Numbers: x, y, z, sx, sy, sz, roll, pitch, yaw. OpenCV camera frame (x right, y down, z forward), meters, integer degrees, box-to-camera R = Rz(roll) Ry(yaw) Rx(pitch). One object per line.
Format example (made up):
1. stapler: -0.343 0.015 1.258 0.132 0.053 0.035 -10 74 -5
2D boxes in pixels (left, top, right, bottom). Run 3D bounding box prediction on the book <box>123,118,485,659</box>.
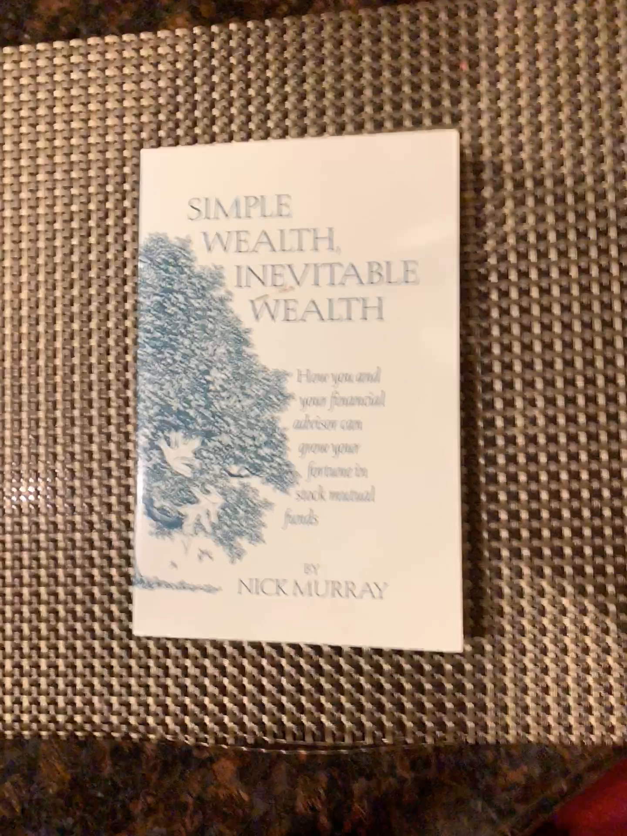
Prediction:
1. book: -0.005 -0.015 0.272 0.141 0.021 0.210 2 89 9
